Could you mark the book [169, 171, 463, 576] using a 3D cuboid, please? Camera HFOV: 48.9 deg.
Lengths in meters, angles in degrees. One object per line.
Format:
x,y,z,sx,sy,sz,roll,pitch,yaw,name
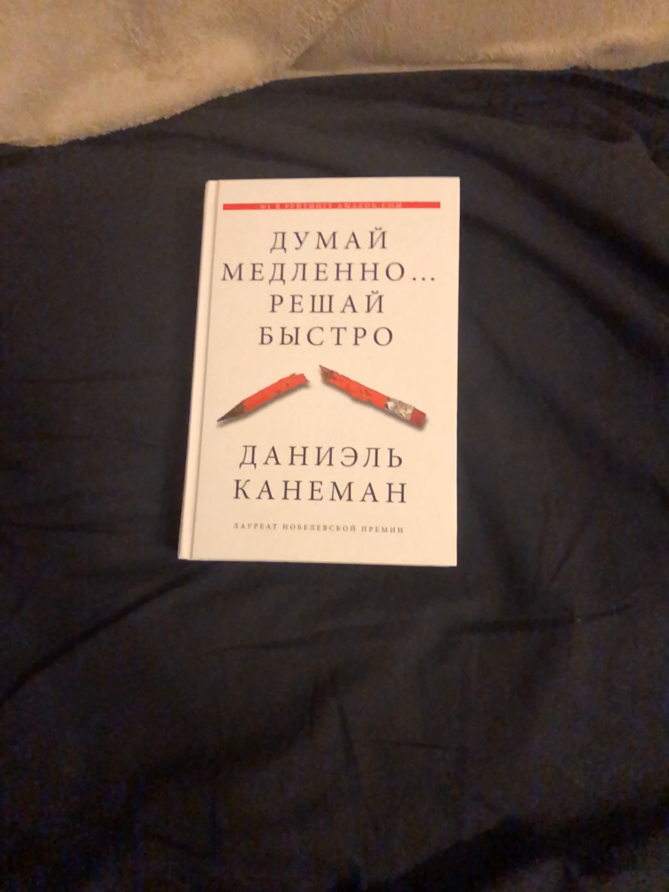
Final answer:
-0.005,-0.041,0.418,0.149,0.050,0.220,1,80,6,book
